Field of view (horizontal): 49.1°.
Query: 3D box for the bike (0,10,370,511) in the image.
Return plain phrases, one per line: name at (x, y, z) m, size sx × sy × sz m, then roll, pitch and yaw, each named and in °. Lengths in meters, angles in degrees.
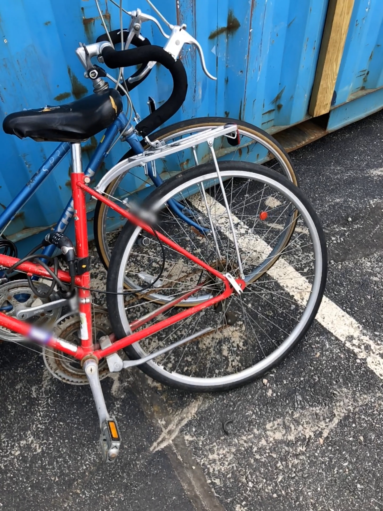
bike at (-0.413, 0.019, 1.036) m, size 1.642 × 0.824 × 0.485 m, roll -21°, pitch 51°, yaw -19°
